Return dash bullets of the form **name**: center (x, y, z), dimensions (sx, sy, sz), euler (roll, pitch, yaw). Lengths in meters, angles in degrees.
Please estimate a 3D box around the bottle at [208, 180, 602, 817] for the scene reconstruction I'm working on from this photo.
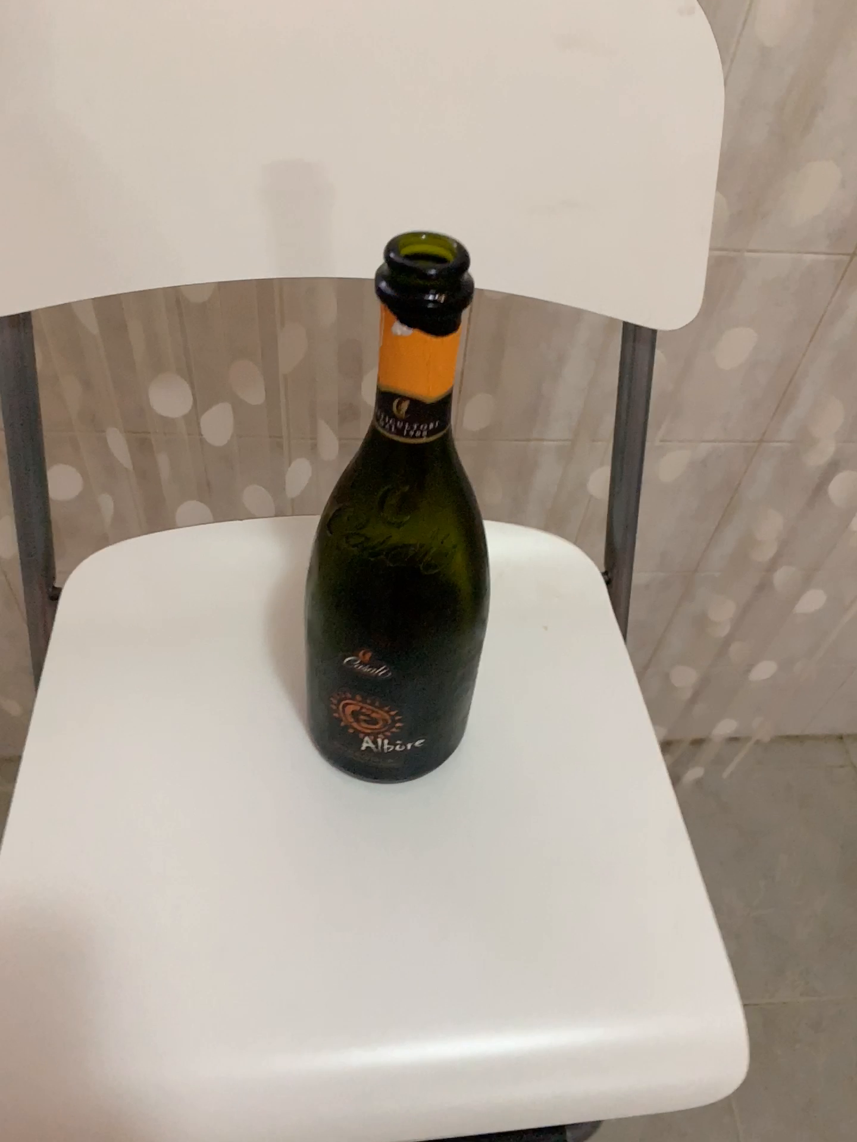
- **bottle**: center (-0.014, -0.006, 0.379), dimensions (0.101, 0.269, 0.093), euler (3, 51, -4)
